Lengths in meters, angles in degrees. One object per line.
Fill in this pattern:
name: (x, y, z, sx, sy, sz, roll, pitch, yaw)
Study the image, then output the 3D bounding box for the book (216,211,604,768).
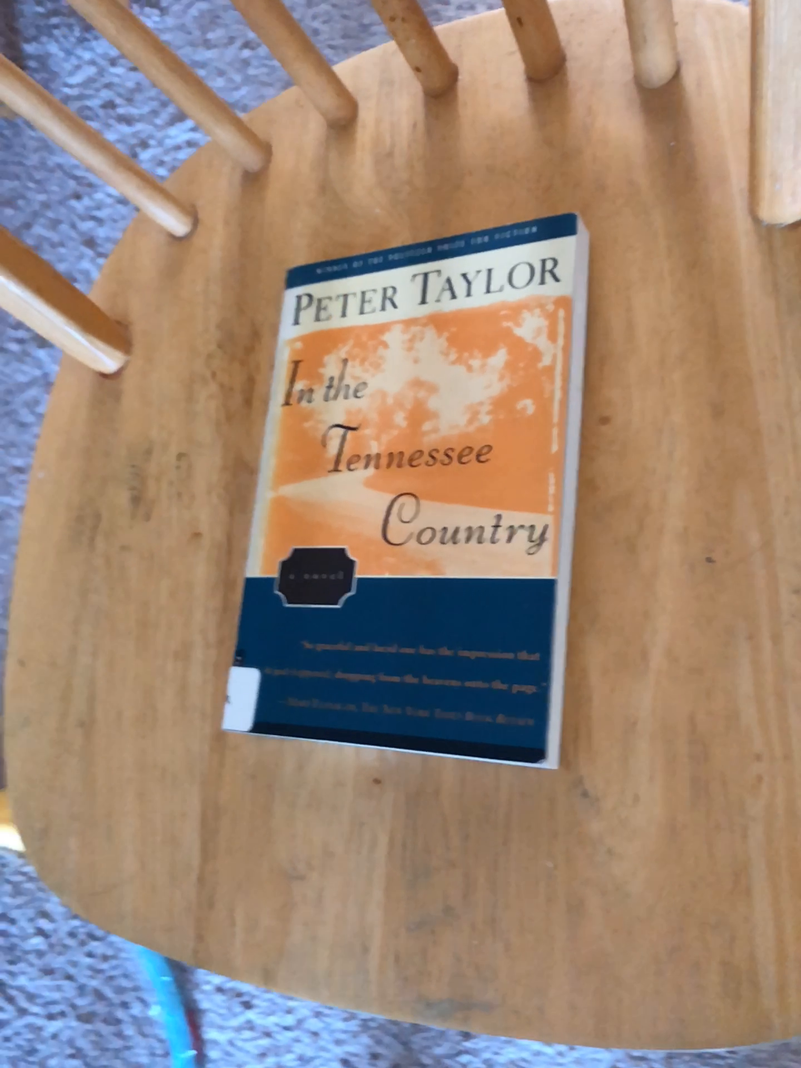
book: (0.004, -0.018, 0.352, 0.137, 0.025, 0.200, -1, 75, 30)
